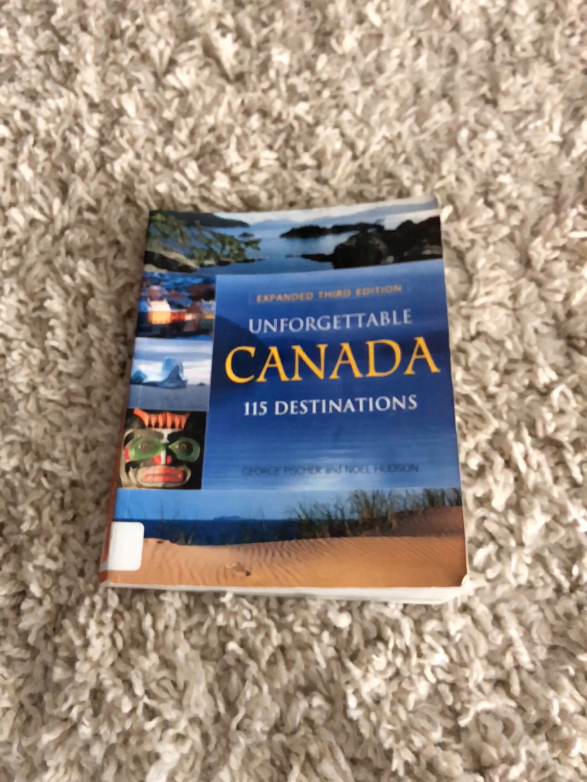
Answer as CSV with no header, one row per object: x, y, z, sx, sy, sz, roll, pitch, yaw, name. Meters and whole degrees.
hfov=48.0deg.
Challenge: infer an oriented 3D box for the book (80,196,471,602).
-0.006,-0.001,0.393,0.200,0.040,0.234,-1,69,8,book
